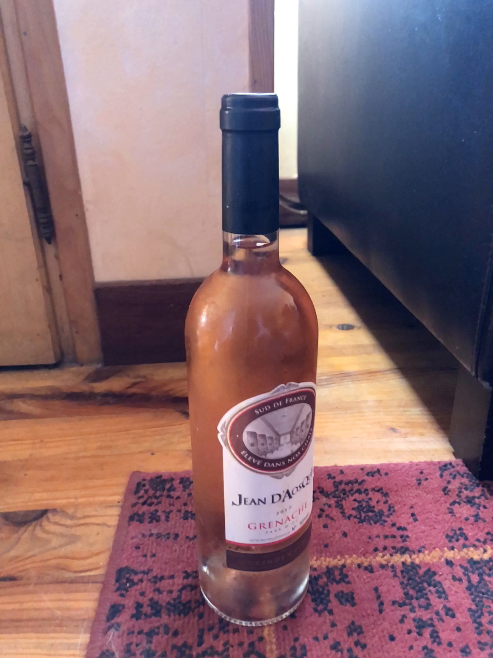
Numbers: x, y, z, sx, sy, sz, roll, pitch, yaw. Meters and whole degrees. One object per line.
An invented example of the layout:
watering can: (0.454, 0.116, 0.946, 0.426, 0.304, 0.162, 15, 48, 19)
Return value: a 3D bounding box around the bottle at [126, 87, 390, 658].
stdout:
bottle: (0.005, 0.034, 0.307, 0.090, 0.308, 0.080, -14, 27, -26)
